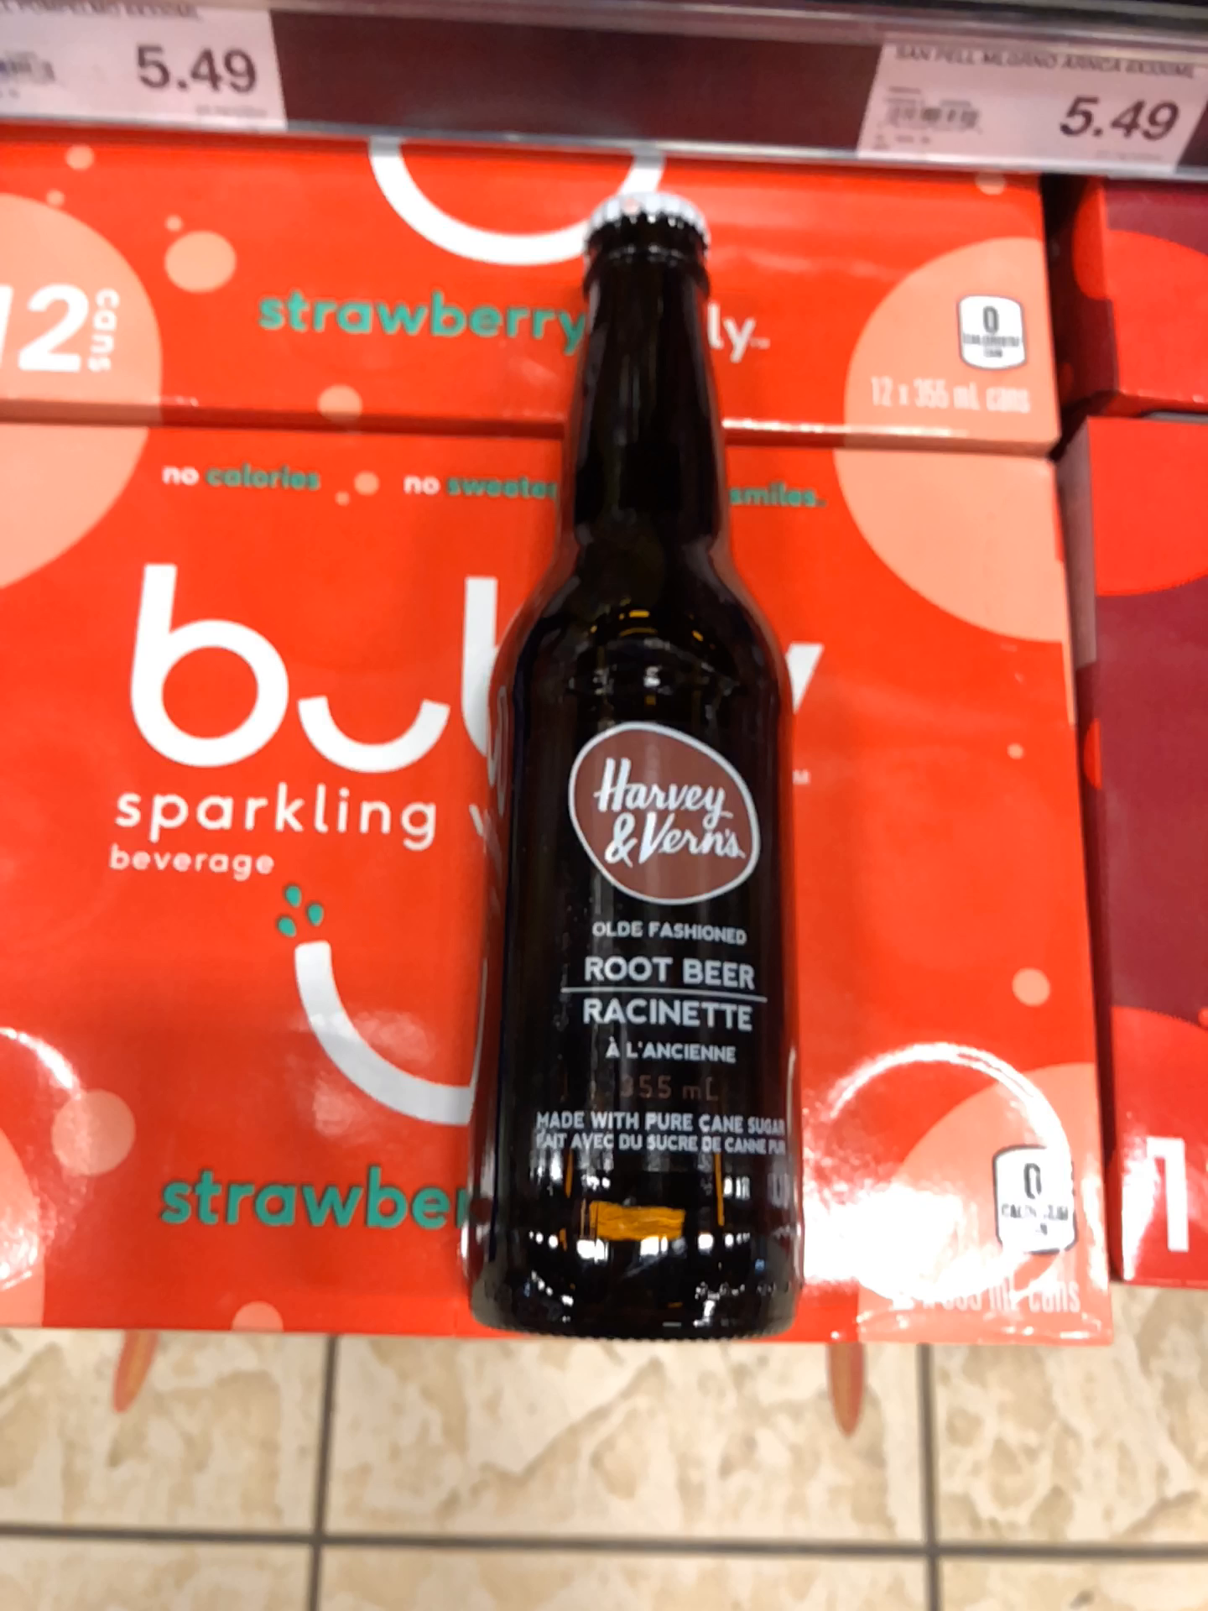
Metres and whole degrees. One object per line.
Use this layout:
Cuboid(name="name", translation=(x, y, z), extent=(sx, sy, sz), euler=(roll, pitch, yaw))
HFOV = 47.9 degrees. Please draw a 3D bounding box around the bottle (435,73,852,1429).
Cuboid(name="bottle", translation=(0.005, -0.014, 0.257), extent=(0.060, 0.070, 0.230), euler=(1, 76, -3))
